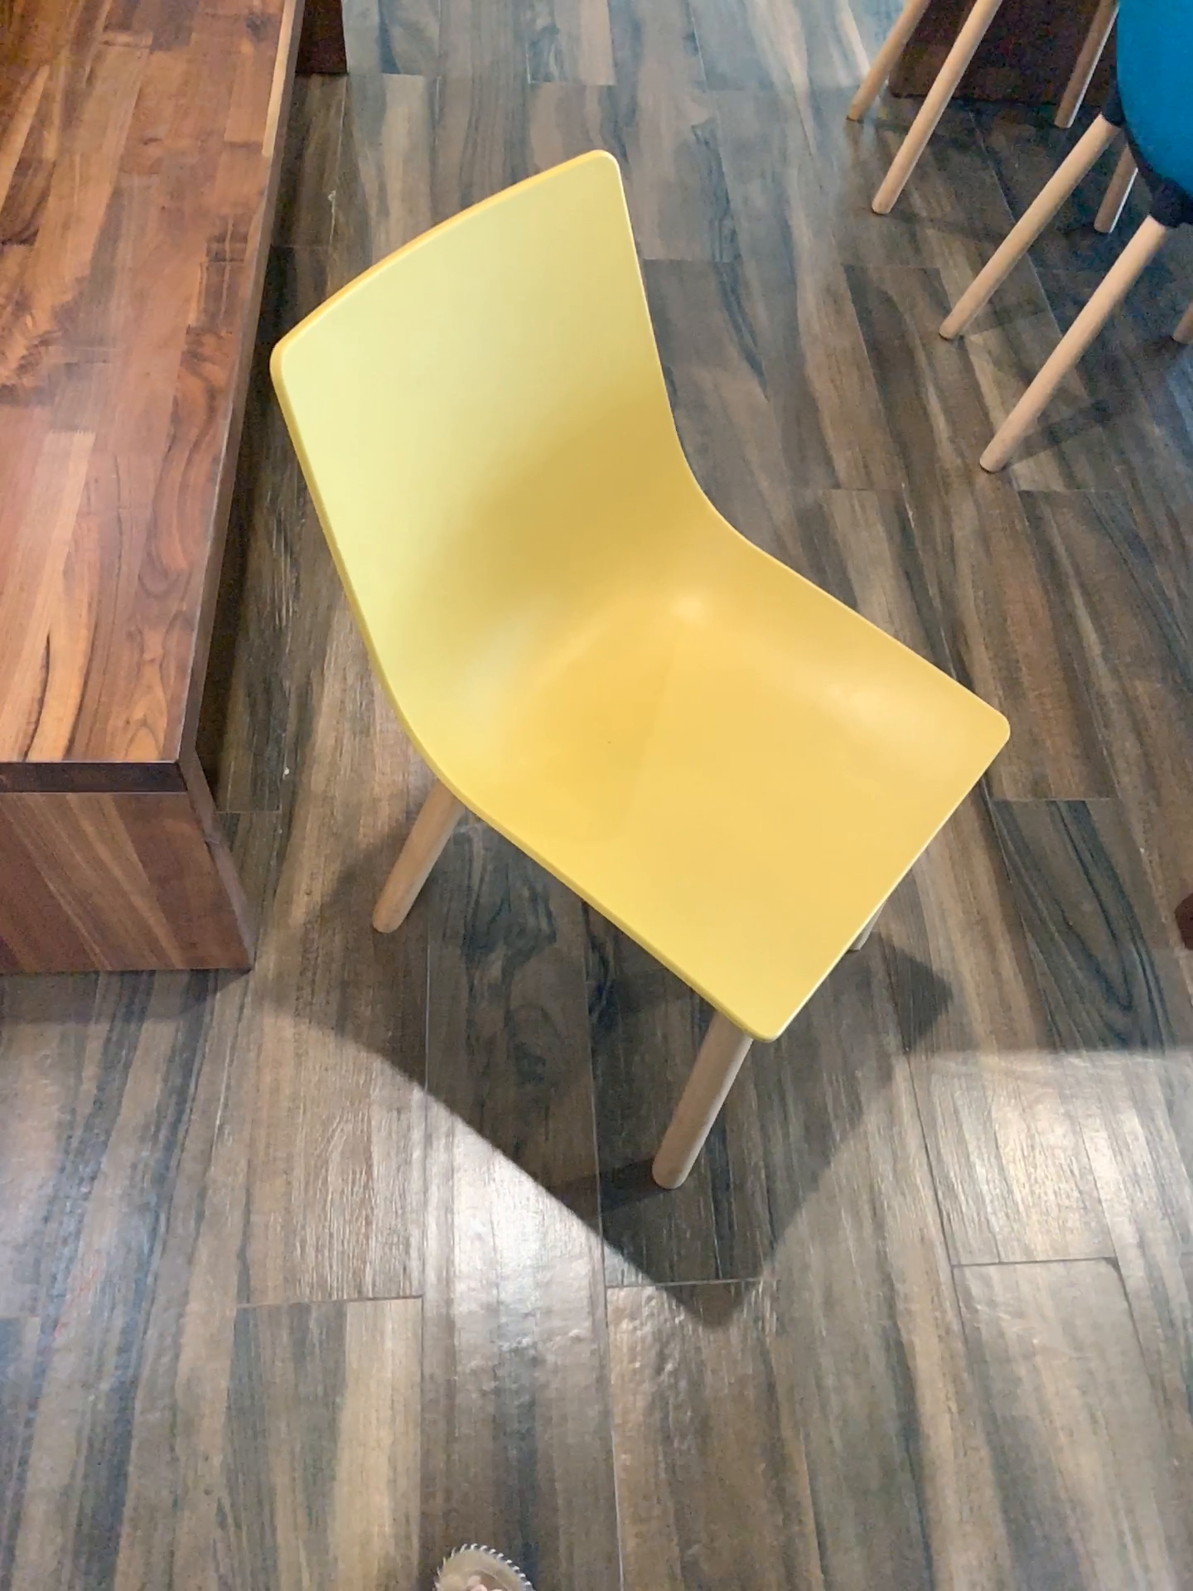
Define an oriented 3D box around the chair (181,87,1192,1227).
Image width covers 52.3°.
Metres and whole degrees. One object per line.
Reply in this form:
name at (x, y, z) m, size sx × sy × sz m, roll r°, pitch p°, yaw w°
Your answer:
chair at (0.063, -0.061, 1.041) m, size 0.501 × 0.716 × 0.452 m, roll 35°, pitch 61°, yaw 16°
